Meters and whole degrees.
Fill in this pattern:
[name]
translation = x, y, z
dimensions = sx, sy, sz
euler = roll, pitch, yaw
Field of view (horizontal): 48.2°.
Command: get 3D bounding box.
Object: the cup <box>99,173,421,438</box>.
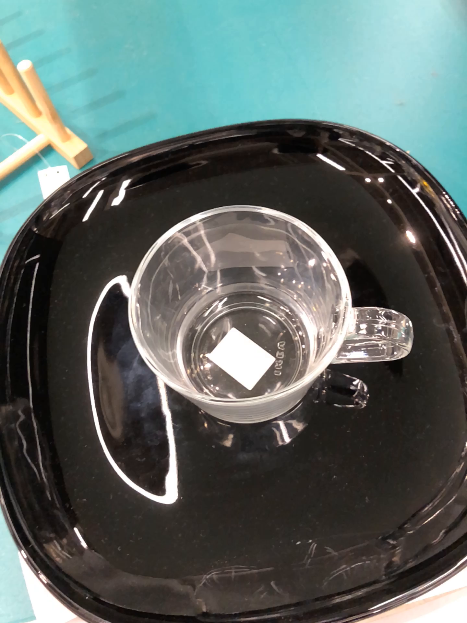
[cup]
translation = 0.015, 0.000, 0.289
dimensions = 0.140, 0.080, 0.120
euler = 0, 65, 5
